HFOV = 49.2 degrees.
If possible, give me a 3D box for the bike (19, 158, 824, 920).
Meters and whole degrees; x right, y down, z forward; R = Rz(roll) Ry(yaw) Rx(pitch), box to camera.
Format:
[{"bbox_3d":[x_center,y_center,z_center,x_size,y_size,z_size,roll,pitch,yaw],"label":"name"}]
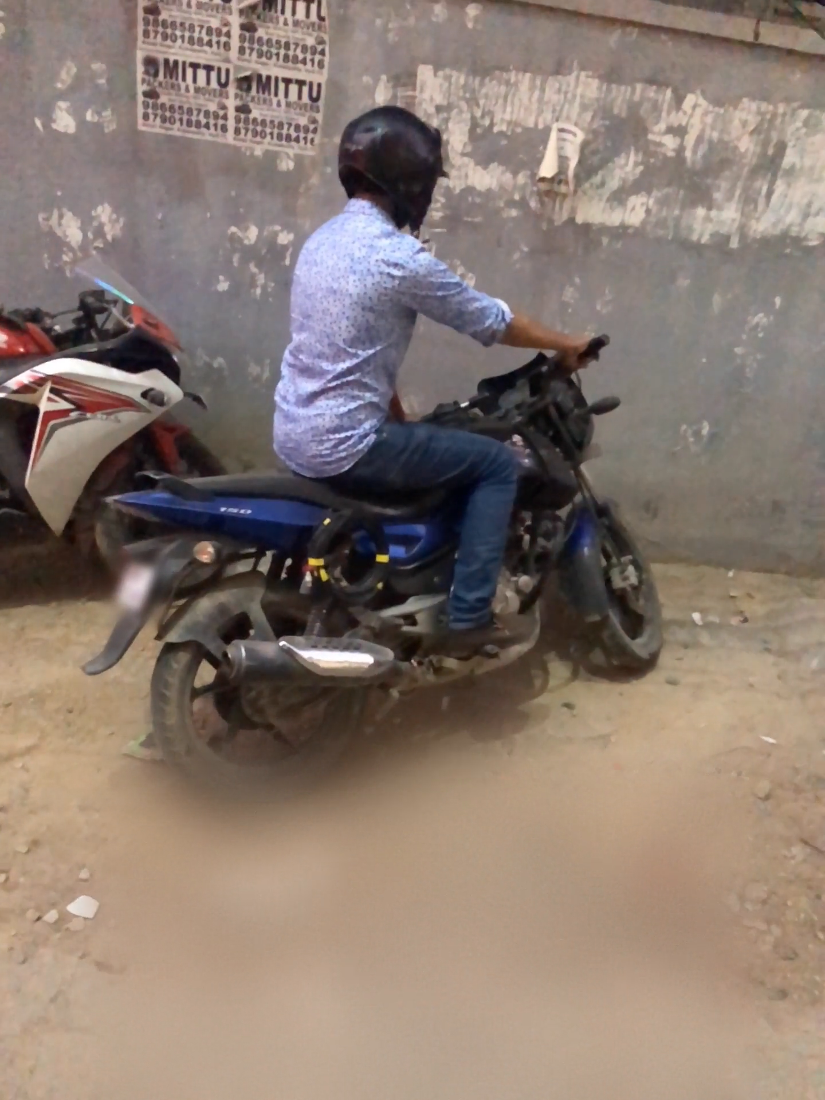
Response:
[{"bbox_3d":[0.019,-0.198,2.391,1.508,1.113,1.093,-25,42,-34],"label":"bike"}]
